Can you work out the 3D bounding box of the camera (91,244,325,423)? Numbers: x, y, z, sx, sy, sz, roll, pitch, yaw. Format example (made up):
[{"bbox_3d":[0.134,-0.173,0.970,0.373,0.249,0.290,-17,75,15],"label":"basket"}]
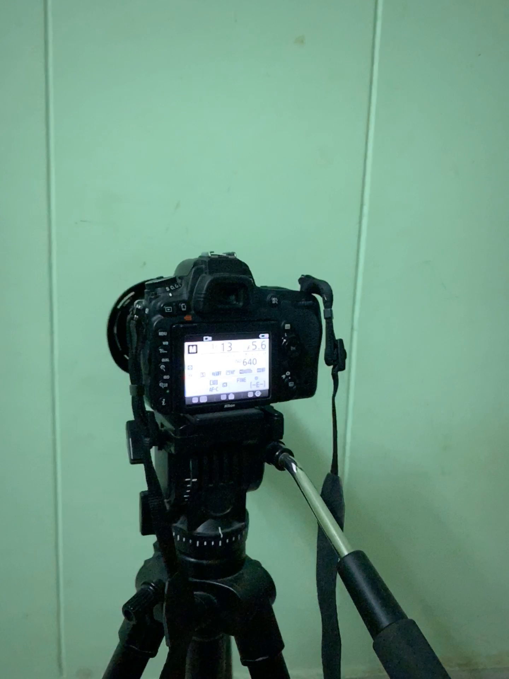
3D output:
[{"bbox_3d":[-0.052,-0.020,0.455,0.140,0.117,0.182,-3,11,-27],"label":"camera"}]
